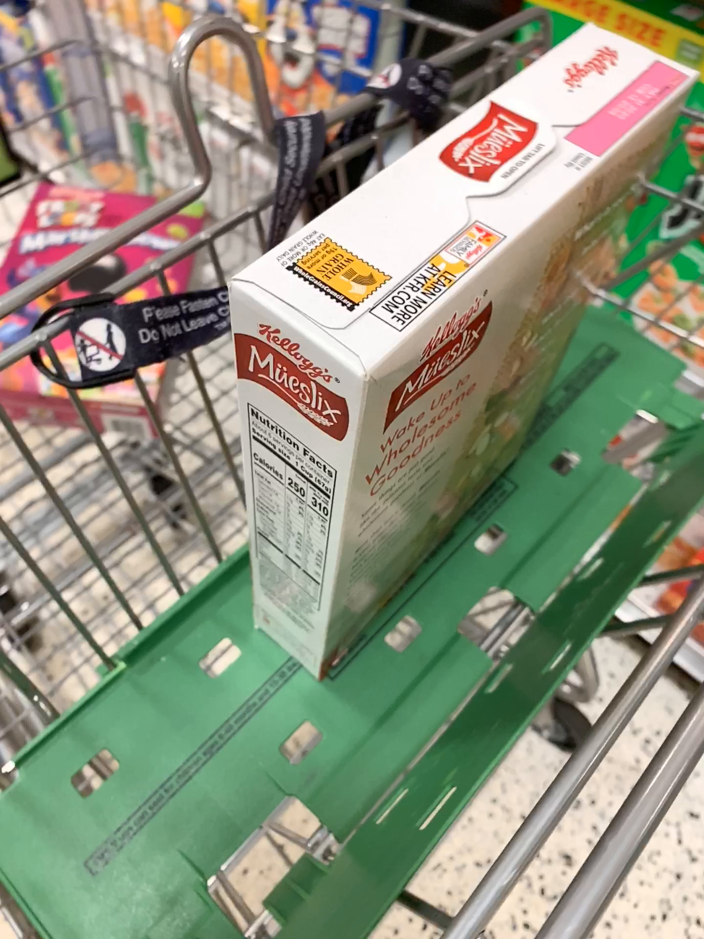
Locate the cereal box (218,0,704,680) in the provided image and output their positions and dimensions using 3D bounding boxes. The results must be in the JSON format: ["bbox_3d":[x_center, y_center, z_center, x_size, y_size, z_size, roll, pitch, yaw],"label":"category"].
[{"bbox_3d":[0.038,-0.034,0.314,0.050,0.248,0.191,38,62,17],"label":"cereal box"}]
